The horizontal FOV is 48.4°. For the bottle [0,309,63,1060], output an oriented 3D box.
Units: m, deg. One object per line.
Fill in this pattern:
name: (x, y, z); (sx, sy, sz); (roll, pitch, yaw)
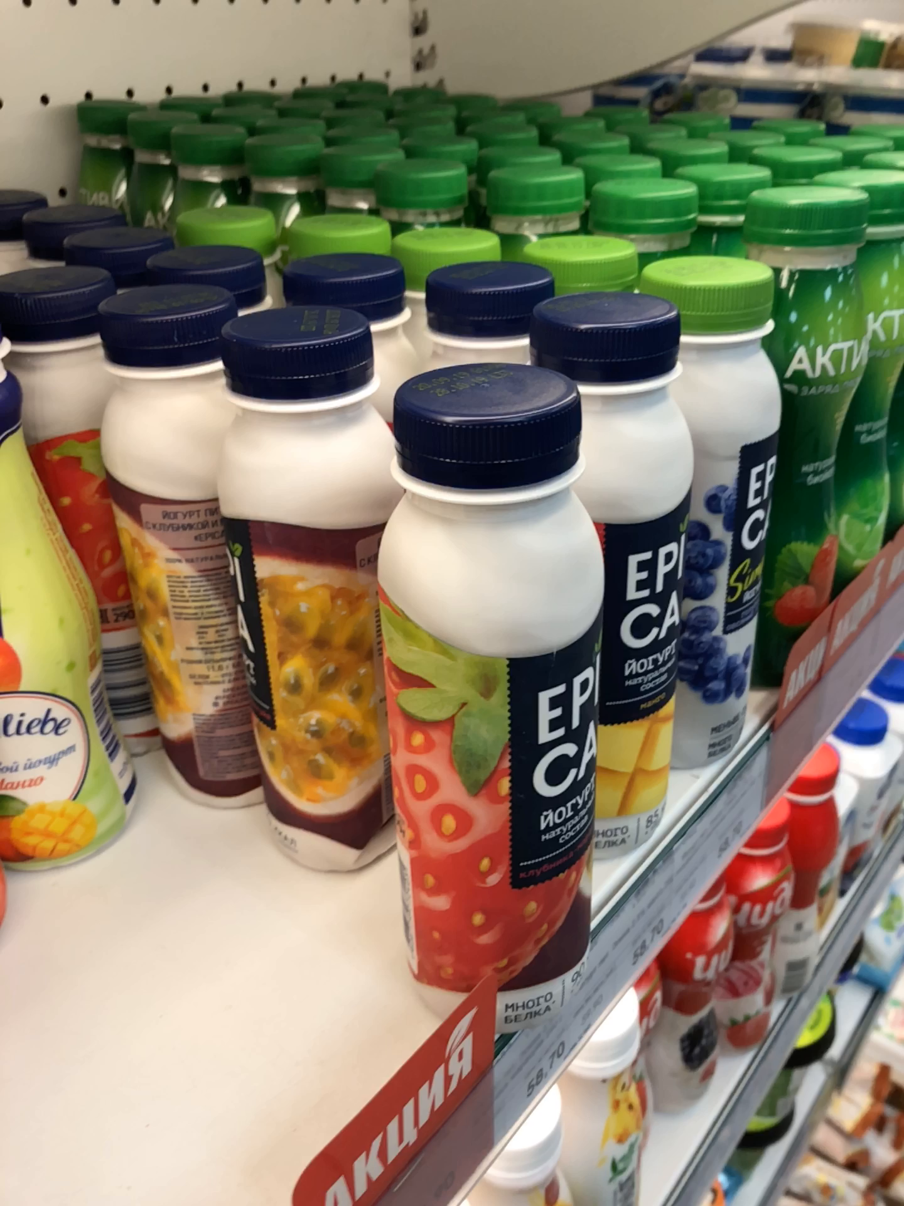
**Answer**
bottle: (-0.156, 0.026, 0.256); (0.051, 0.182, 0.053); (-1, 30, 0)

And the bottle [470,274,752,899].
bottle: (0.043, -0.001, 0.307); (0.053, 0.177, 0.051); (-1, 30, 0)

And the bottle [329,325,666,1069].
bottle: (0.011, 0.029, 0.254); (0.050, 0.179, 0.050); (-1, 30, 0)
